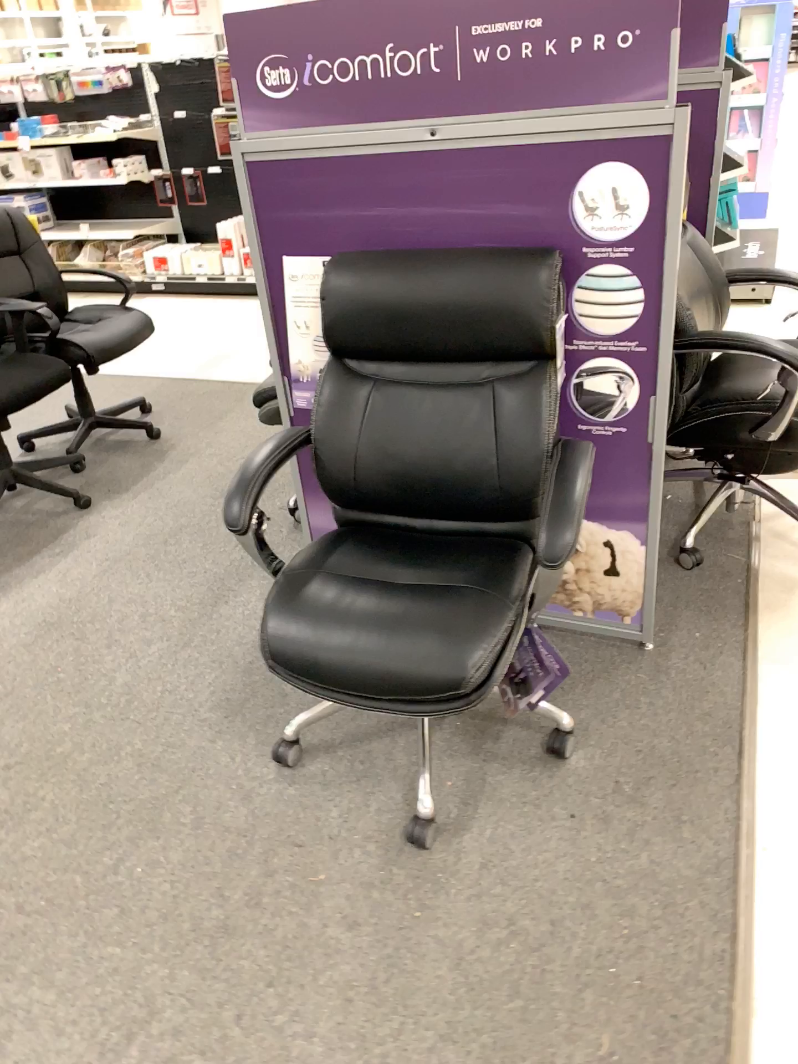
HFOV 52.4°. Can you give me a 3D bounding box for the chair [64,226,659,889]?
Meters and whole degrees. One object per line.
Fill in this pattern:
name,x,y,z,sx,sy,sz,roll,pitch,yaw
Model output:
chair,0.030,-0.020,1.594,0.771,0.955,0.723,7,33,22
